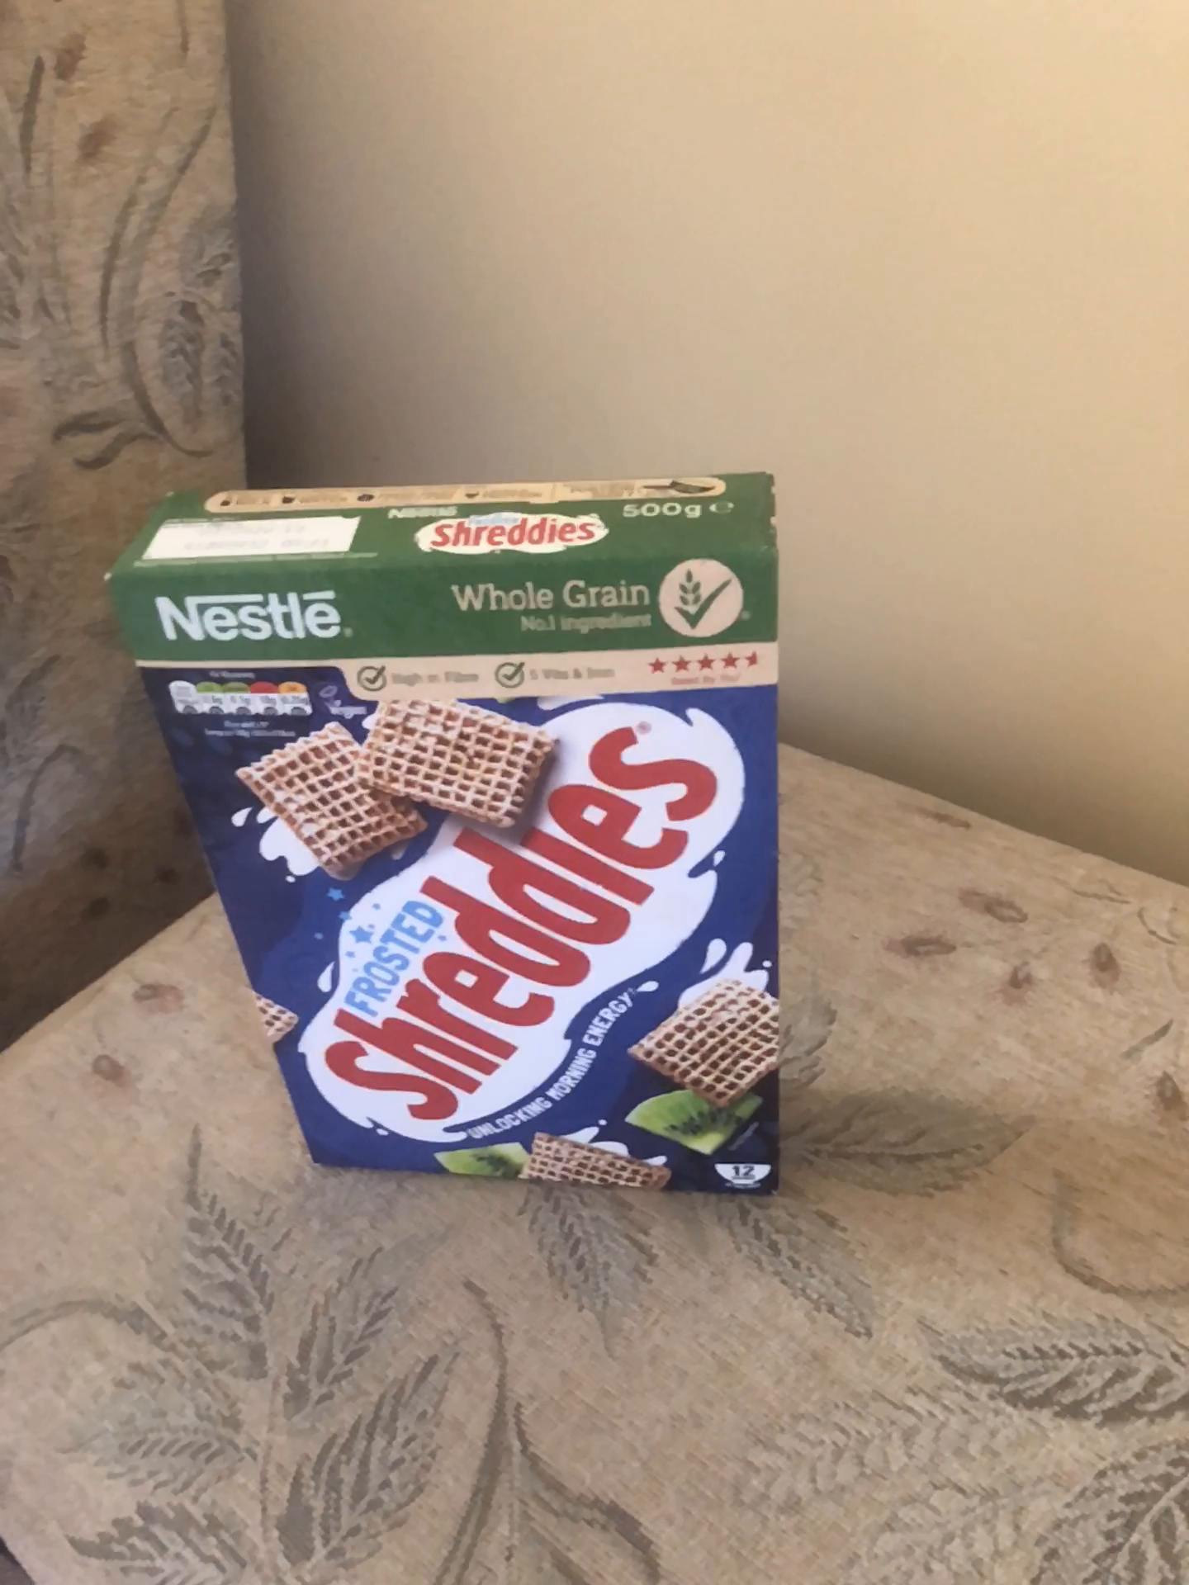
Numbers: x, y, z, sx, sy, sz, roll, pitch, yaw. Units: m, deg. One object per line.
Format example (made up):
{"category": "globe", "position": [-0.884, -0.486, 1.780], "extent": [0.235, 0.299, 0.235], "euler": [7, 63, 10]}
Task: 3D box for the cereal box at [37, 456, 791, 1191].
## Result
{"category": "cereal box", "position": [-0.037, 0.024, 0.439], "extent": [0.200, 0.258, 0.060], "euler": [1, 38, 9]}
